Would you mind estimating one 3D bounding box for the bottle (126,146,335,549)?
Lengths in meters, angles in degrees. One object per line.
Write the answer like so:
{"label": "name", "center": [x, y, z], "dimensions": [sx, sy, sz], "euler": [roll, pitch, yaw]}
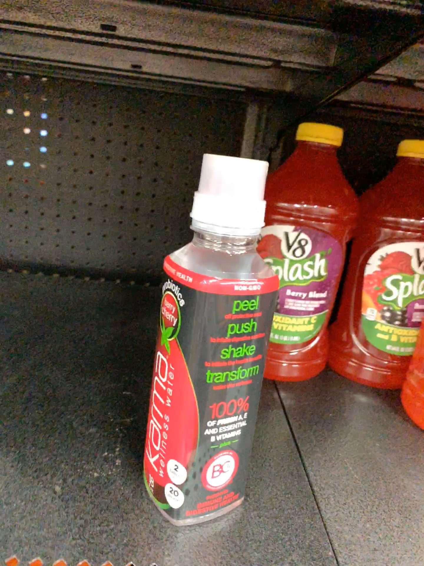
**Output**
{"label": "bottle", "center": [0.001, 0.034, 0.259], "dimensions": [0.070, 0.209, 0.069], "euler": [7, 17, -2]}
